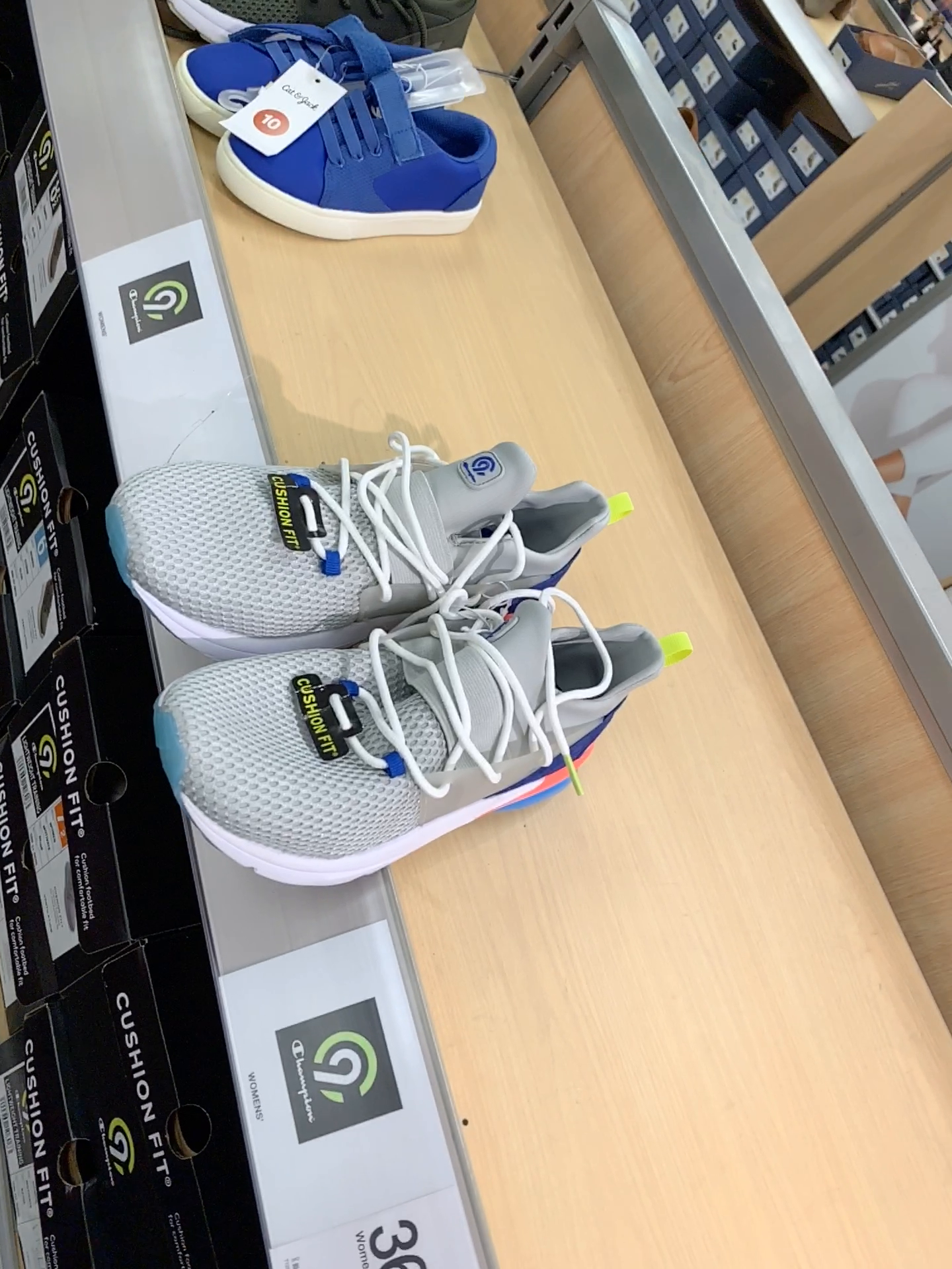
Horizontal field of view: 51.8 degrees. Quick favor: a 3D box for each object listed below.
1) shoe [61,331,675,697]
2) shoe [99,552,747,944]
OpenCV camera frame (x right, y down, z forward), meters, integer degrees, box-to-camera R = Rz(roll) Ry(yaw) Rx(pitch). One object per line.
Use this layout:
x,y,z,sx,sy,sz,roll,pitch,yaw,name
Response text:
-0.038,-0.040,0.472,0.271,0.090,0.110,3,59,-43,shoe
-0.006,0.034,0.439,0.271,0.090,0.110,-5,65,-46,shoe
